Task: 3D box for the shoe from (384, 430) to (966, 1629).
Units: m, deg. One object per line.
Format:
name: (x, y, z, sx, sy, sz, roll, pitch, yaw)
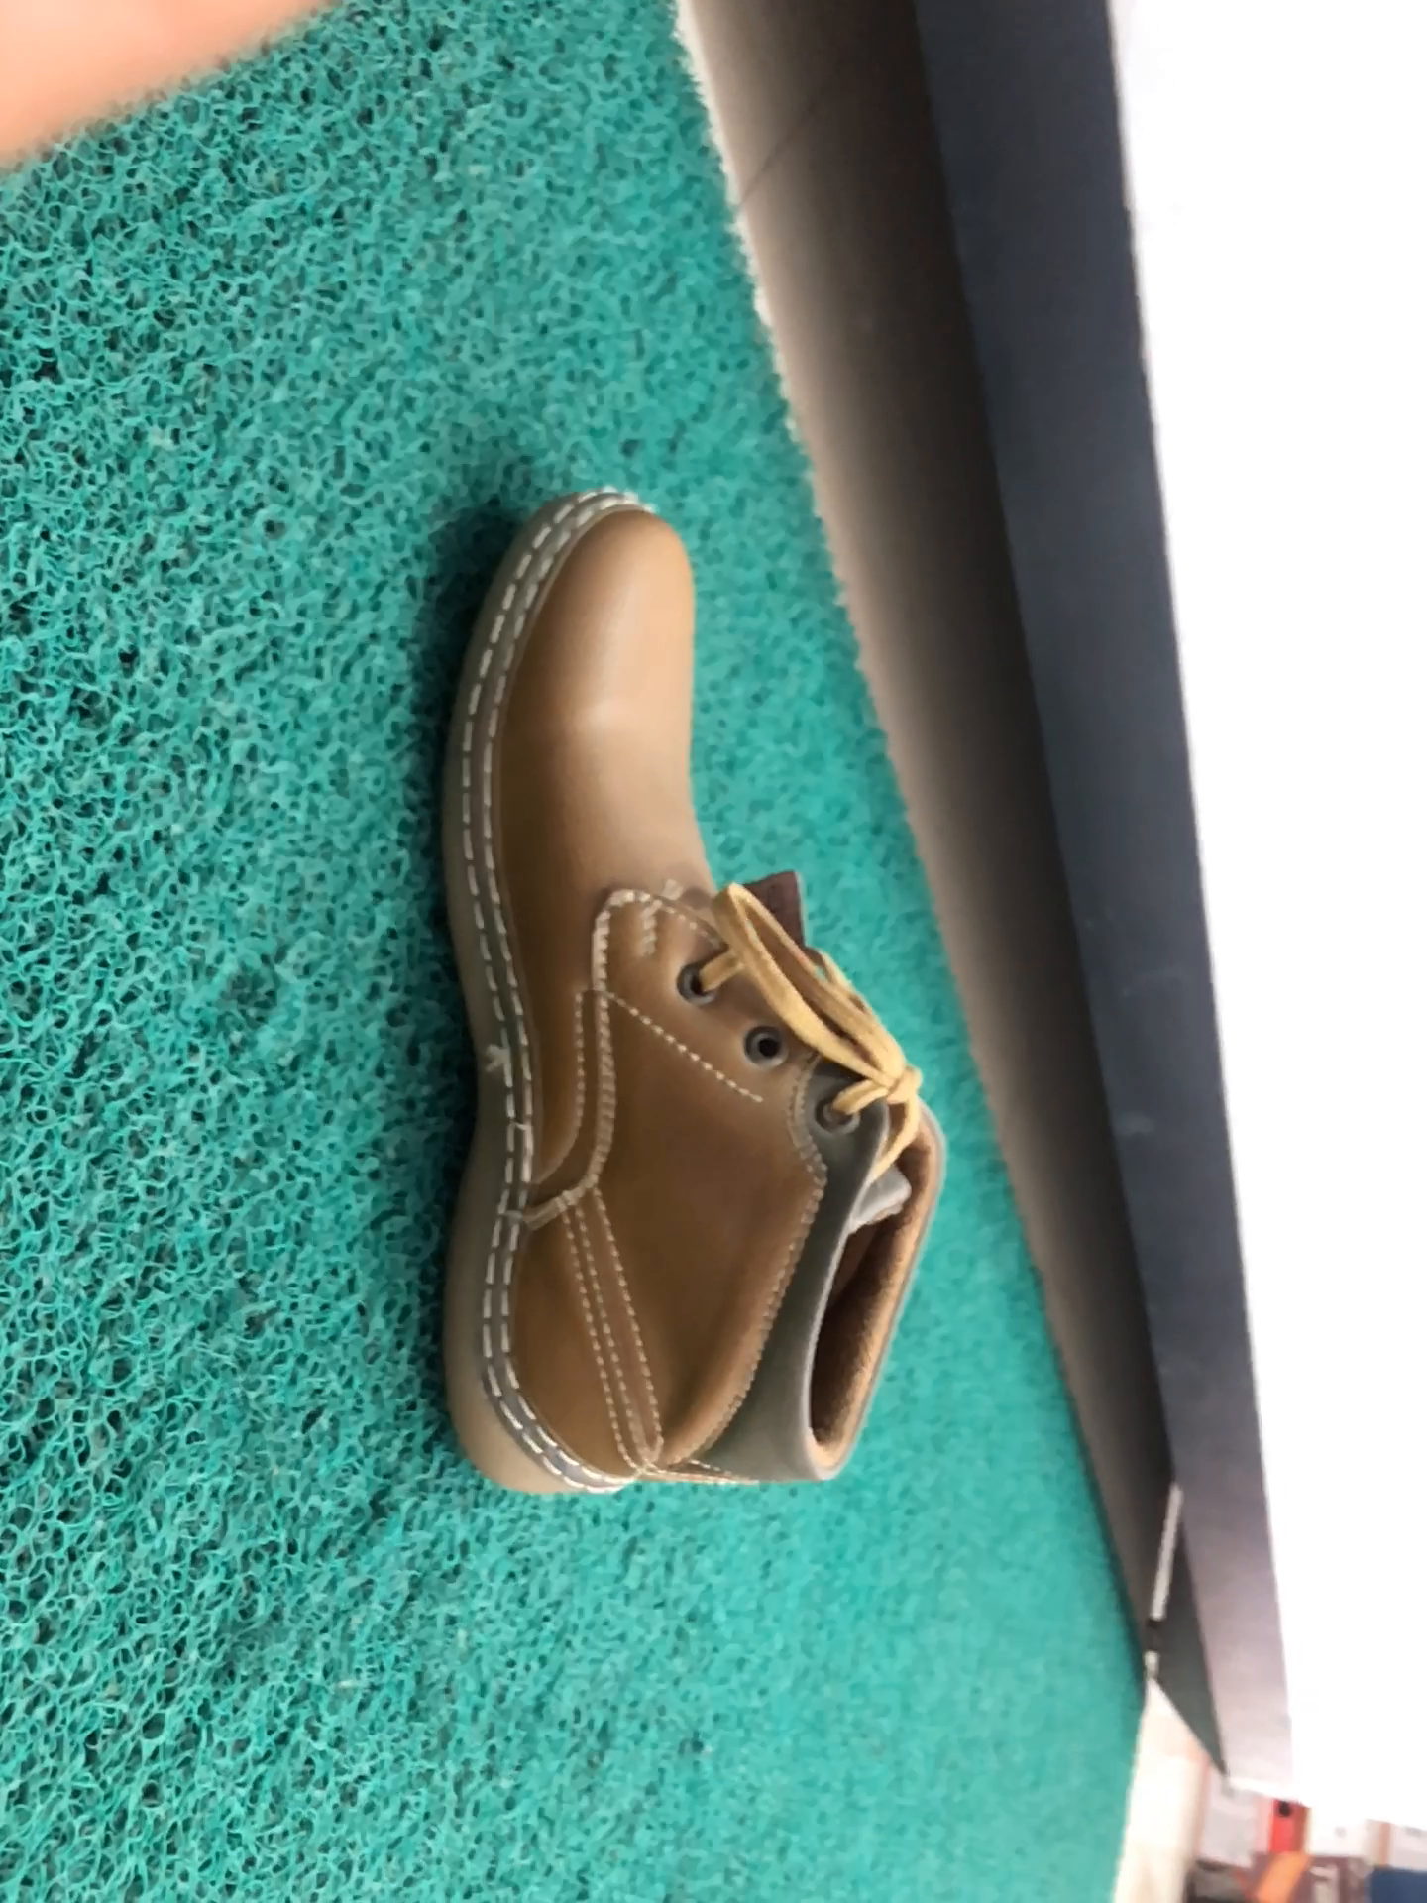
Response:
shoe: (-0.005, 0.018, 0.455, 0.101, 0.129, 0.290, -12, 102, -64)
